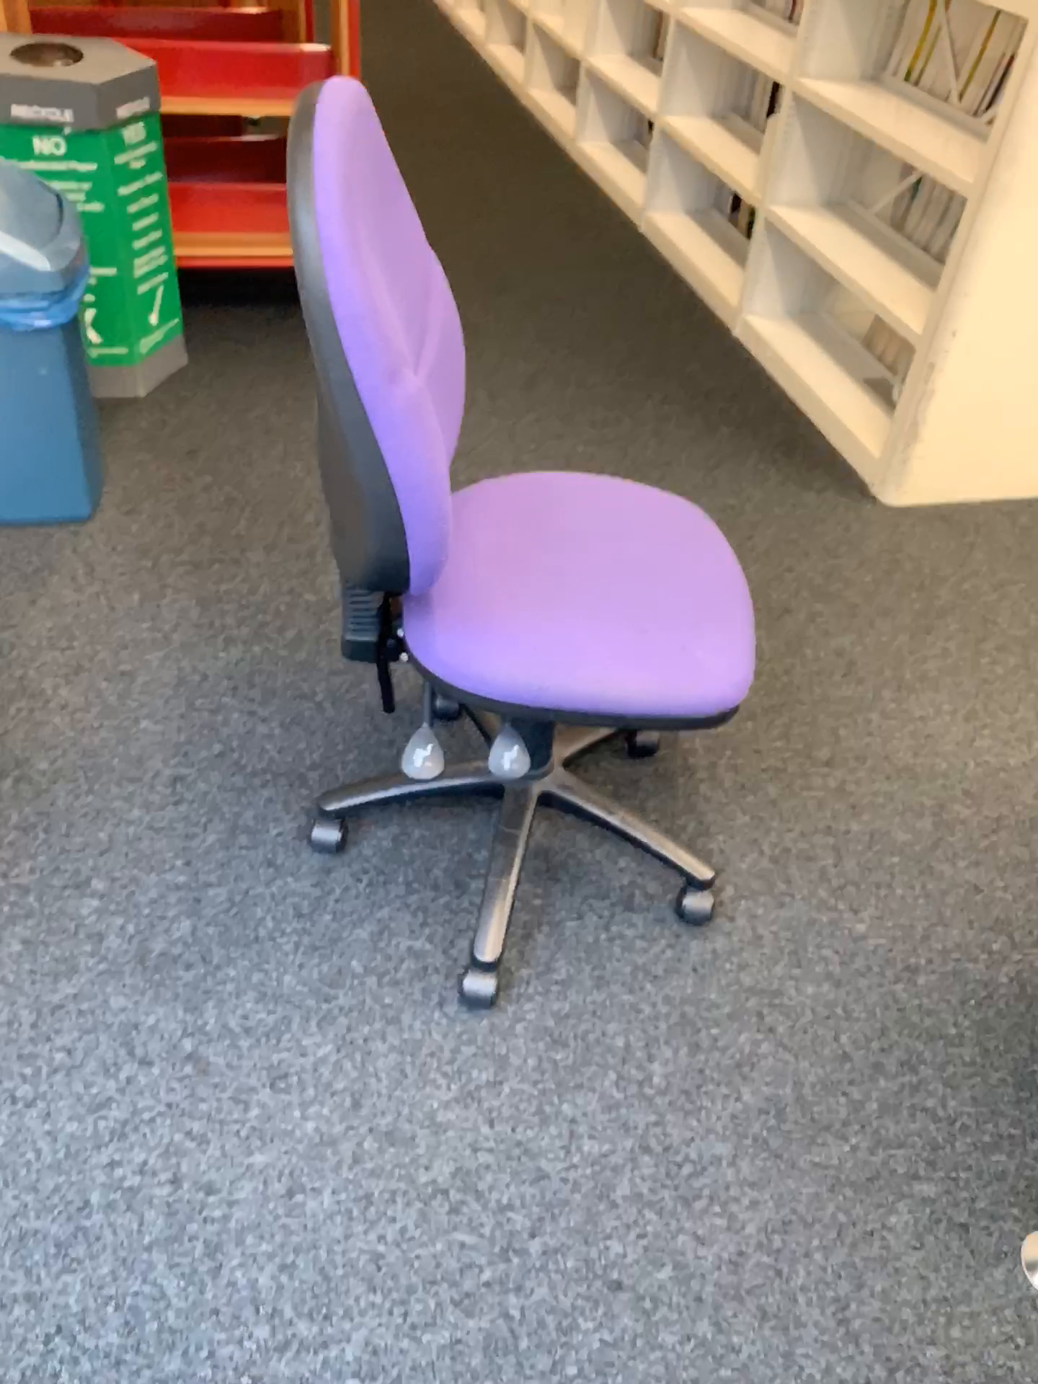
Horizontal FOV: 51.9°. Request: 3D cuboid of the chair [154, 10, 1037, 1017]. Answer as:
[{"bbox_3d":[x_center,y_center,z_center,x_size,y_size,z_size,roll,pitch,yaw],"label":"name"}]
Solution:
[{"bbox_3d":[0.025,-0.180,1.320,0.634,0.983,0.675,3,41,-4],"label":"chair"}]
